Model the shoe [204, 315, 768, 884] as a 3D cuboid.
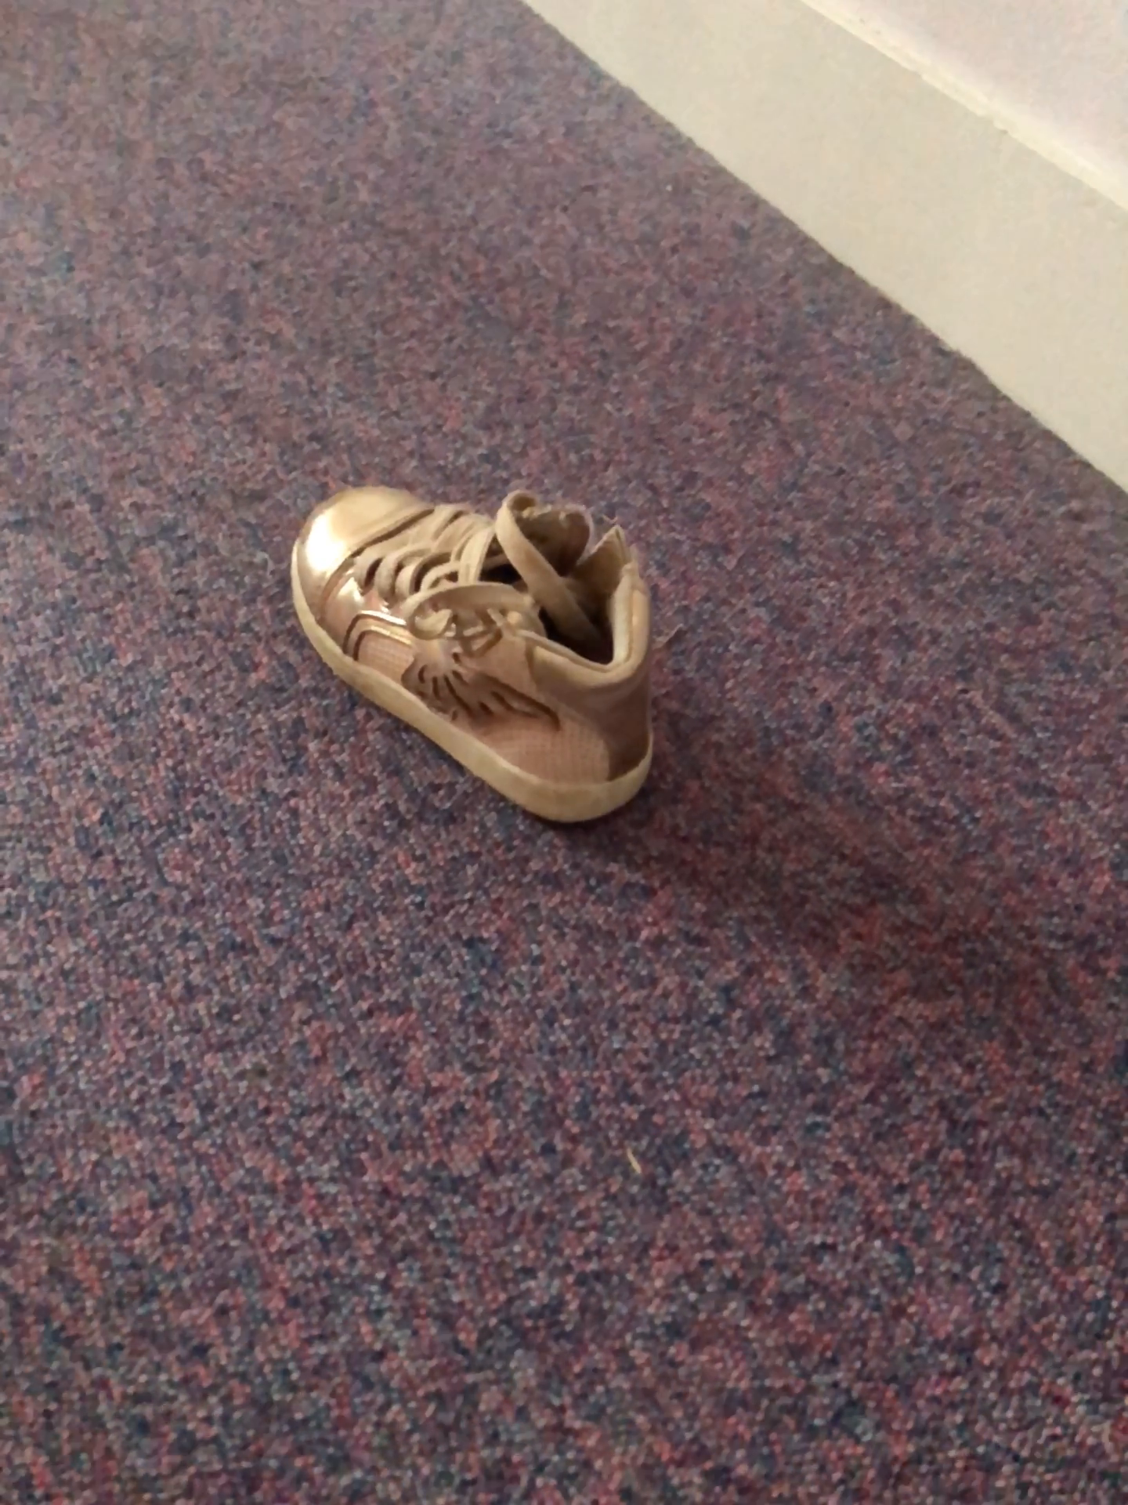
[{"bbox_3d":[-0.026,-0.051,0.379,0.080,0.080,0.150,-36,60,-26],"label":"shoe"}]
